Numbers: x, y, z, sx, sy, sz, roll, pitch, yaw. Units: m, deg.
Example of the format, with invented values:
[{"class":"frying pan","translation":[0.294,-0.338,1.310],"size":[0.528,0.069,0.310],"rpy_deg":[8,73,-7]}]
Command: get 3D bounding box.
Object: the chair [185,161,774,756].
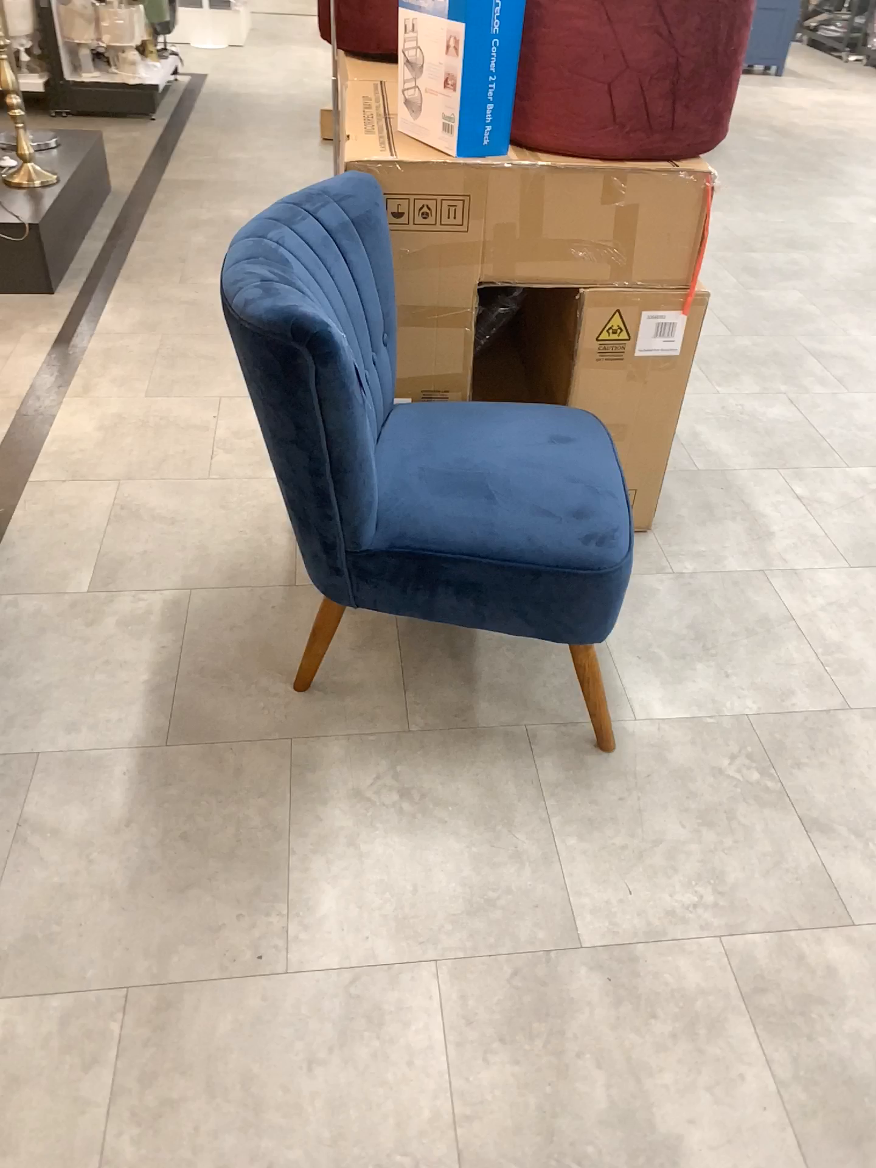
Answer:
[{"class":"chair","translation":[0.026,-0.228,1.599],"size":[0.720,0.792,0.697],"rpy_deg":[1,39,-3]}]
